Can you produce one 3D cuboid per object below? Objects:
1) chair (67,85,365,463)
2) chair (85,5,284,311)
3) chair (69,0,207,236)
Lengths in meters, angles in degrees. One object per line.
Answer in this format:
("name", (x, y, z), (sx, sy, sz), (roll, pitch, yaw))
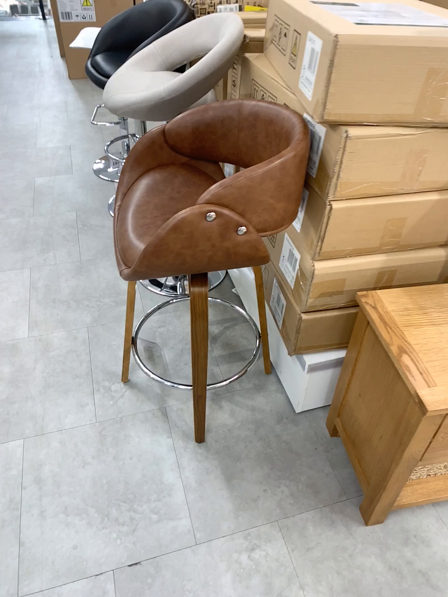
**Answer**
("chair", (-0.075, -0.062, 1.296), (0.550, 0.846, 0.548), (-8, 42, -12))
("chair", (-0.162, -0.511, 1.736), (0.520, 0.945, 0.498), (-10, 42, -14))
("chair", (-0.373, -0.830, 2.107), (0.470, 0.886, 0.498), (-10, 42, -14))
